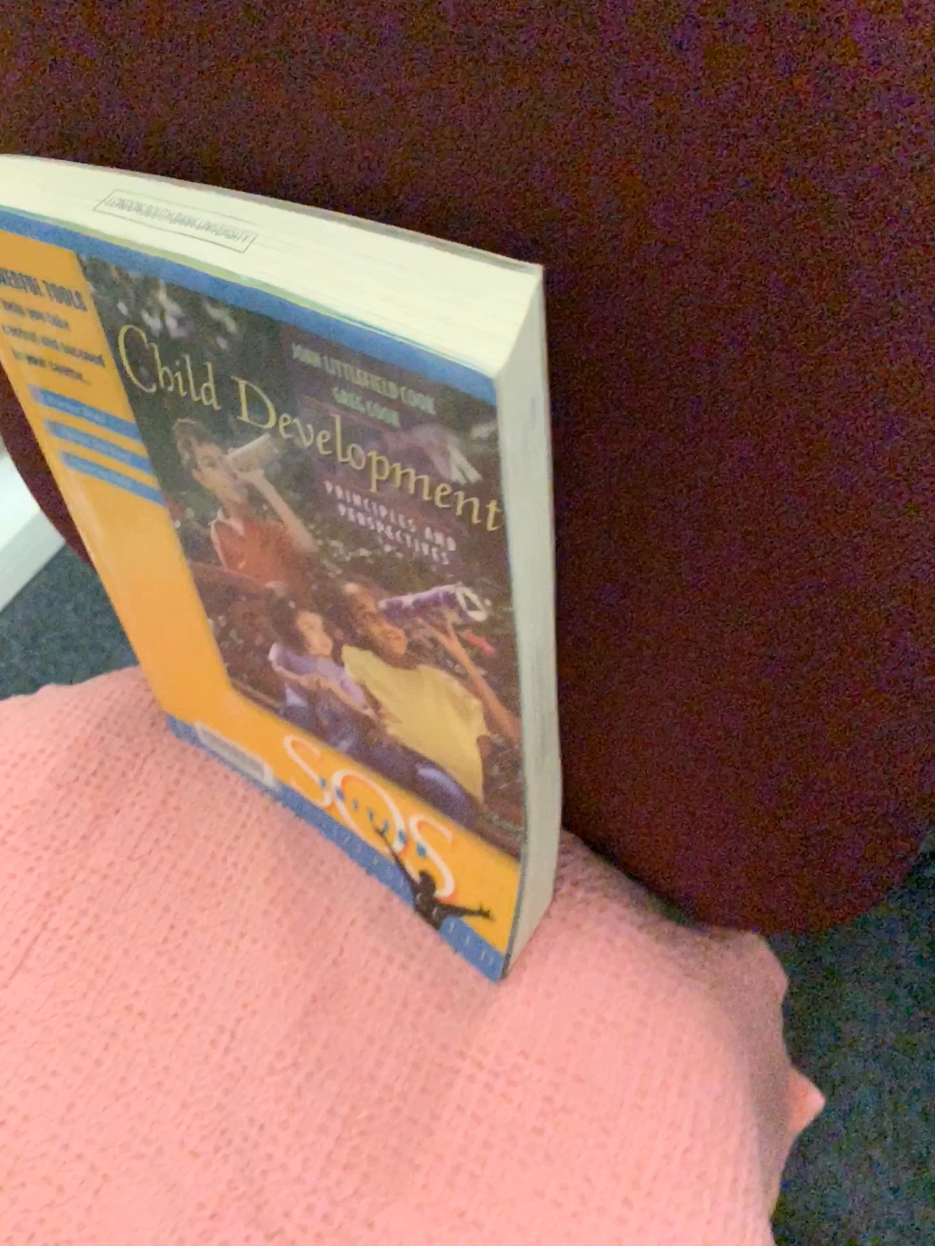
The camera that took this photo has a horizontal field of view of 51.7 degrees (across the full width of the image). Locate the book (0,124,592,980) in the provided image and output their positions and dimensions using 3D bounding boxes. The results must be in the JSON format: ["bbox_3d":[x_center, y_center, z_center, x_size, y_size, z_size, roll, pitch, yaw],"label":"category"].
[{"bbox_3d":[-0.073,-0.015,0.345,0.226,0.258,0.050,25,50,27],"label":"book"}]
